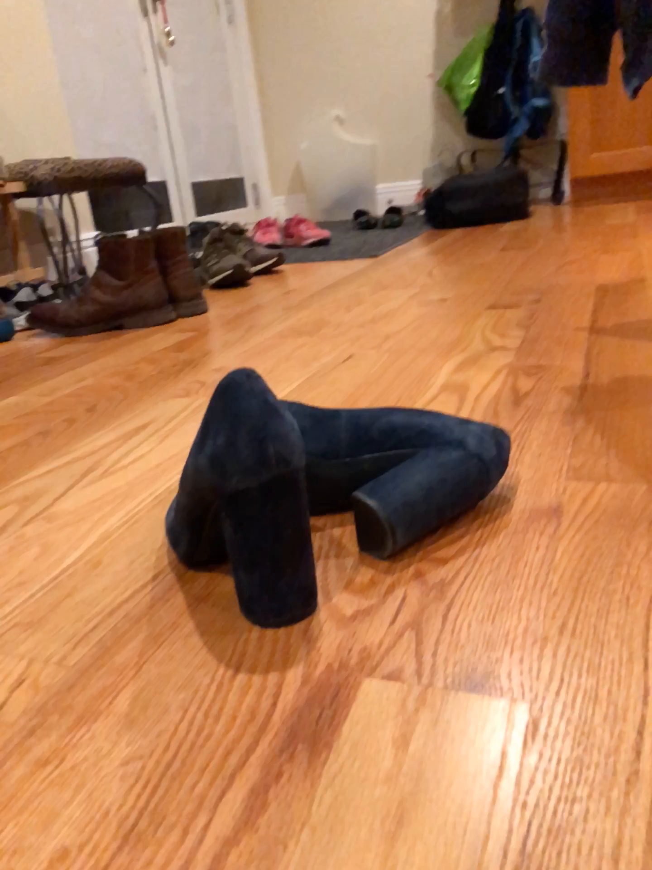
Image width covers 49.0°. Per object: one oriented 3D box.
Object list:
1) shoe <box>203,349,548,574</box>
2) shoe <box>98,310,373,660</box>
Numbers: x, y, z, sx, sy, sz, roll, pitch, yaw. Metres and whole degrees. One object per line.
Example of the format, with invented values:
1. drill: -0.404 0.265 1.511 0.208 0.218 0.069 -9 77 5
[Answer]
1. shoe: 0.033 0.003 0.536 0.152 0.080 0.205 -23 25 -36
2. shoe: -0.069 0.011 0.465 0.080 0.146 0.227 -16 22 -24
